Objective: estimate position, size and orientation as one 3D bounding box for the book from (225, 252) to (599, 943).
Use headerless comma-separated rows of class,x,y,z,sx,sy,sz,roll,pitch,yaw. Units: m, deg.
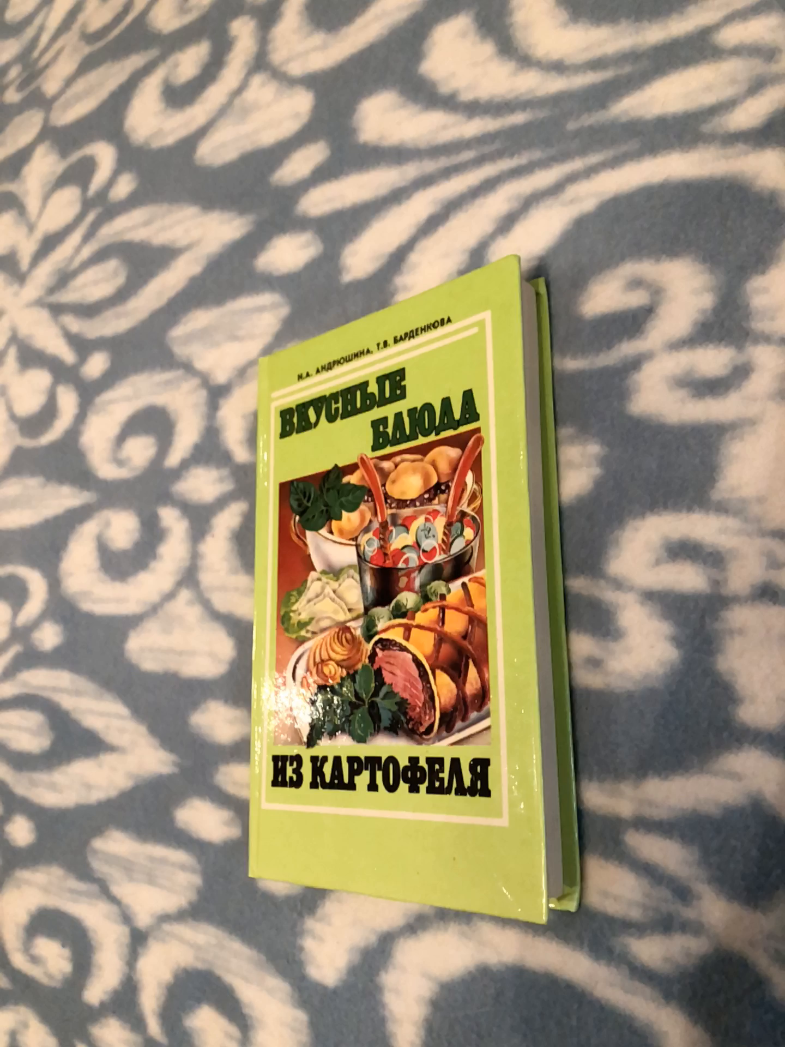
book,-0.002,0.025,0.305,0.136,0.025,0.201,-12,73,39
